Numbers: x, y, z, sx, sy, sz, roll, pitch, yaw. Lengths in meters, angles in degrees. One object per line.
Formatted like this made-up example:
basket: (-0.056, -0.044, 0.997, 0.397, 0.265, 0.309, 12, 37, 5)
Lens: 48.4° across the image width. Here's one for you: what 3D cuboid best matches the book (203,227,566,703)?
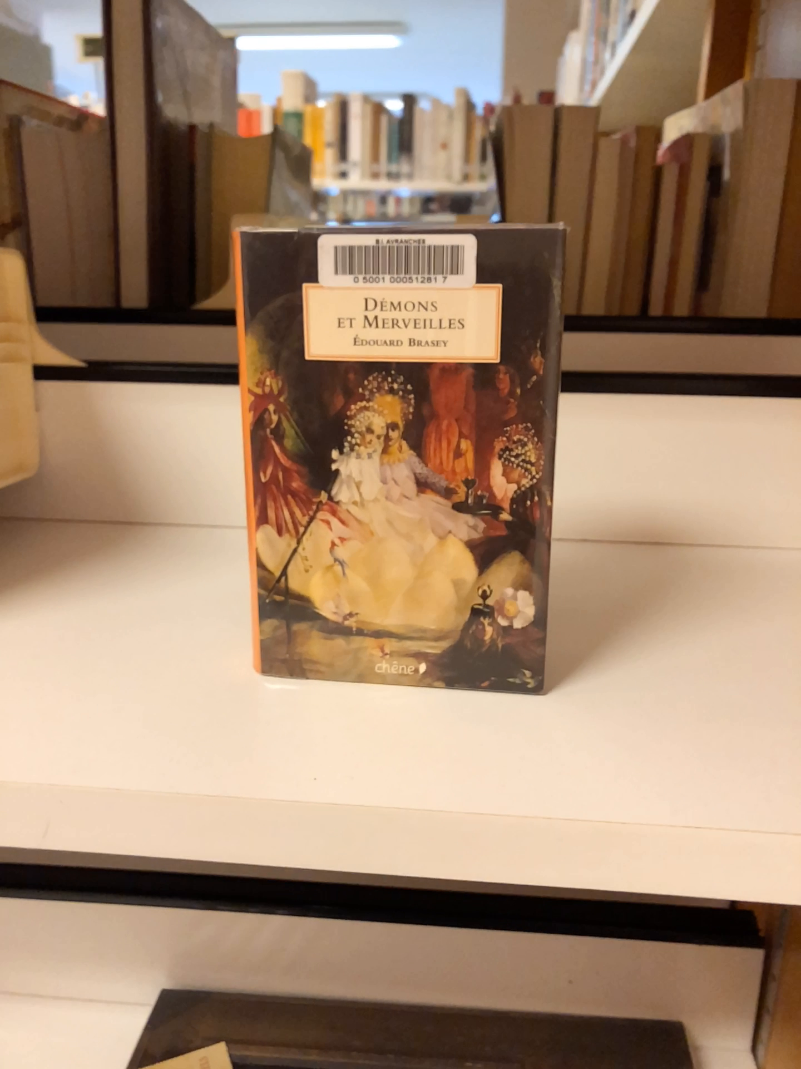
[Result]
book: (-0.004, -0.026, 0.318, 0.114, 0.155, 0.047, 3, 15, 8)
